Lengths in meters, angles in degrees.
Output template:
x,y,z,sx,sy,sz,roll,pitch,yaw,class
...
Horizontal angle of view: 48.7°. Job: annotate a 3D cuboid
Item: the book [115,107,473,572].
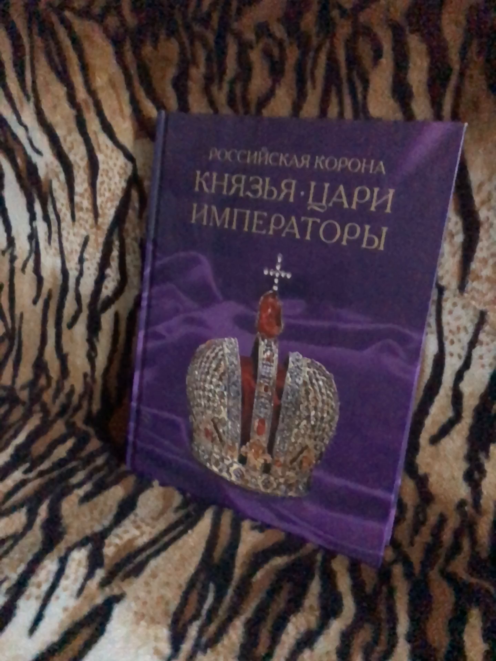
x,y,z,sx,sy,sz,roll,pitch,yaw,class
0.013,-0.006,0.389,0.223,0.279,0.035,13,12,27,book
